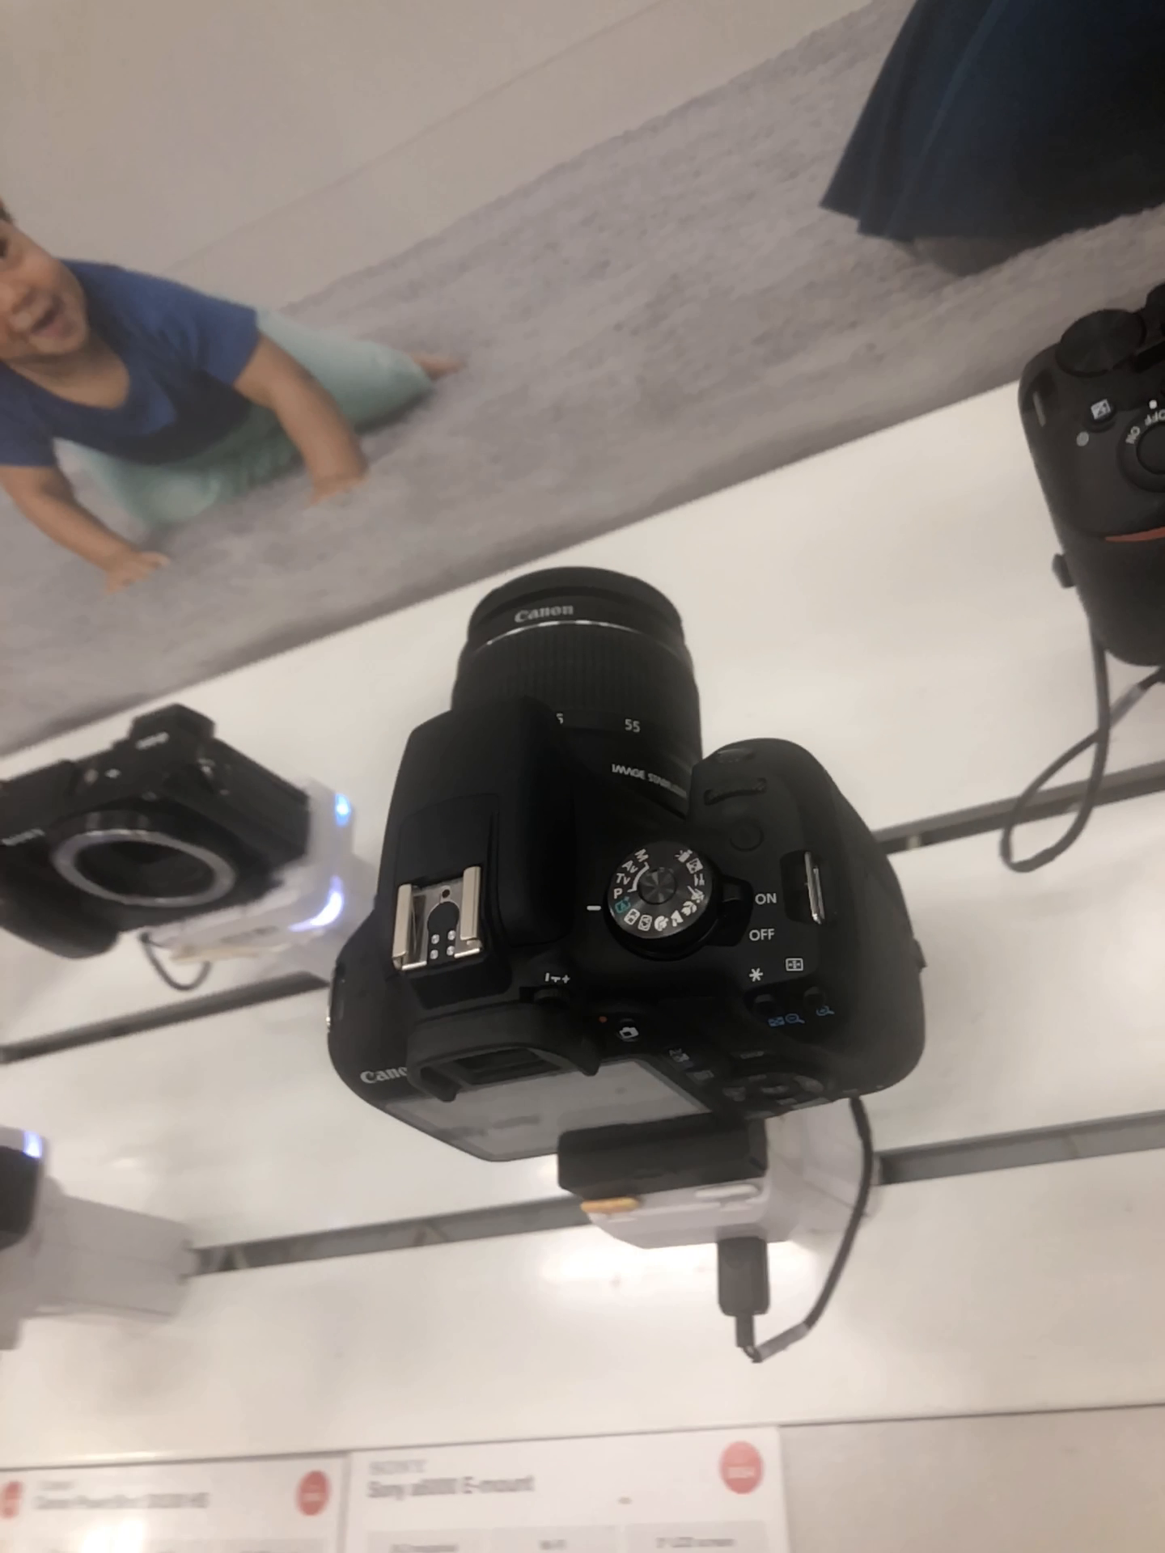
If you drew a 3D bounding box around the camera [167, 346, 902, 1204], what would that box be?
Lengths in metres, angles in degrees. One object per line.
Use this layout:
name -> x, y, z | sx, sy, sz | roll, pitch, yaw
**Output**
camera -> -0.012, 0.007, 0.335 | 0.140, 0.090, 0.170 | -16, 58, 24
